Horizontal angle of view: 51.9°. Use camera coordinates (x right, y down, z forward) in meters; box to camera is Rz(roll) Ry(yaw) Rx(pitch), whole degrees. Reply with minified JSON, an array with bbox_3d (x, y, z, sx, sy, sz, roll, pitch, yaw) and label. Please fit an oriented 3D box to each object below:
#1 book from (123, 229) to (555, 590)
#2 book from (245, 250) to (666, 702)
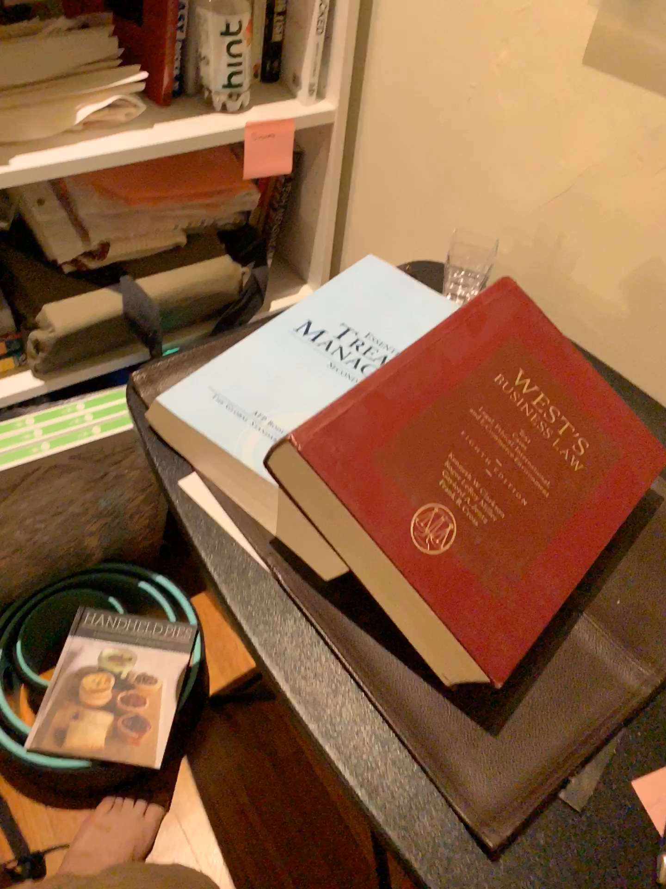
[{"bbox_3d":[0.011,-0.053,0.567,0.220,0.070,0.271,36,54,23],"label":"book"},{"bbox_3d":[0.108,0.004,0.496,0.271,0.050,0.210,-39,88,-33],"label":"book"}]
